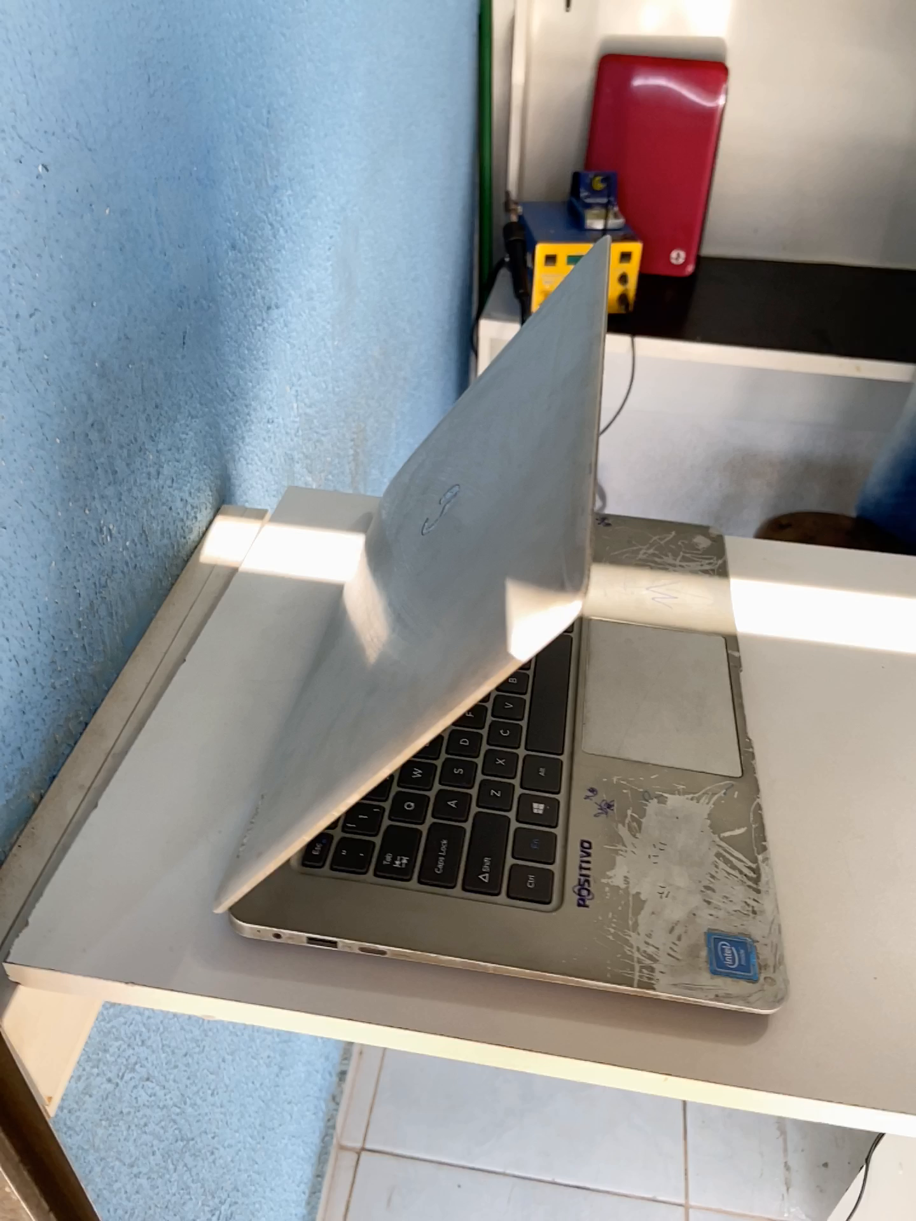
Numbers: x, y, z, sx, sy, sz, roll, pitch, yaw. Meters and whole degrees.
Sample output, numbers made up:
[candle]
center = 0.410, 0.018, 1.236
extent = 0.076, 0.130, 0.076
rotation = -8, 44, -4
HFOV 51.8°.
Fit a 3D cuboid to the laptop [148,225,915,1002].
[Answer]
[laptop]
center = 0.040, -0.034, 0.435
extent = 0.211, 0.167, 0.328
rotation = 7, 38, 5
